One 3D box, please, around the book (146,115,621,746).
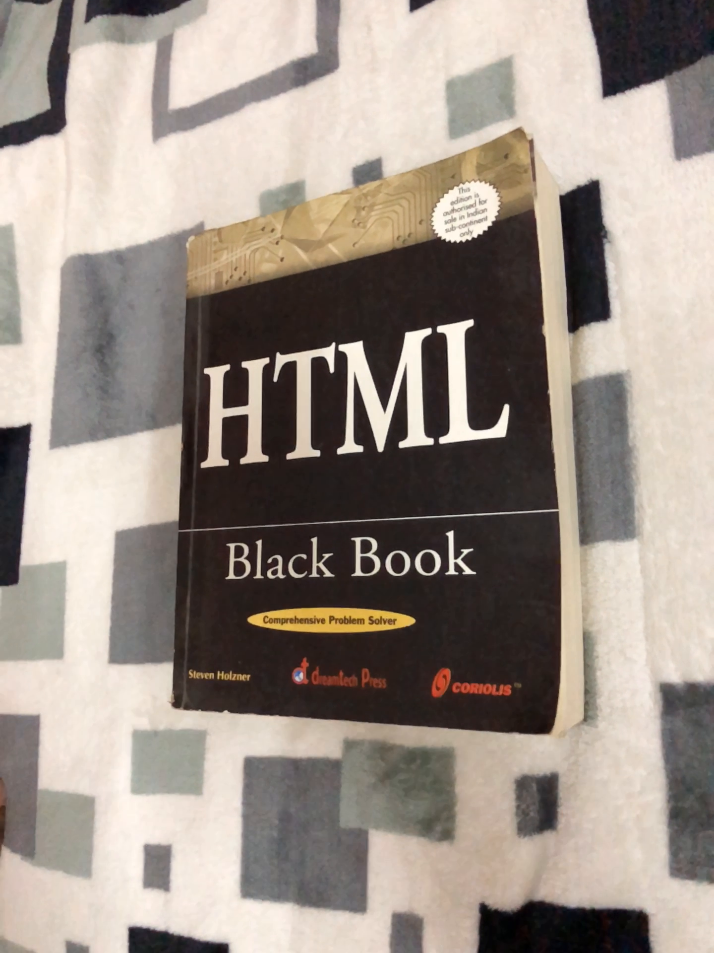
[{"bbox_3d":[0.006,-0.010,0.356,0.190,0.070,0.230,-6,78,29],"label":"book"}]
